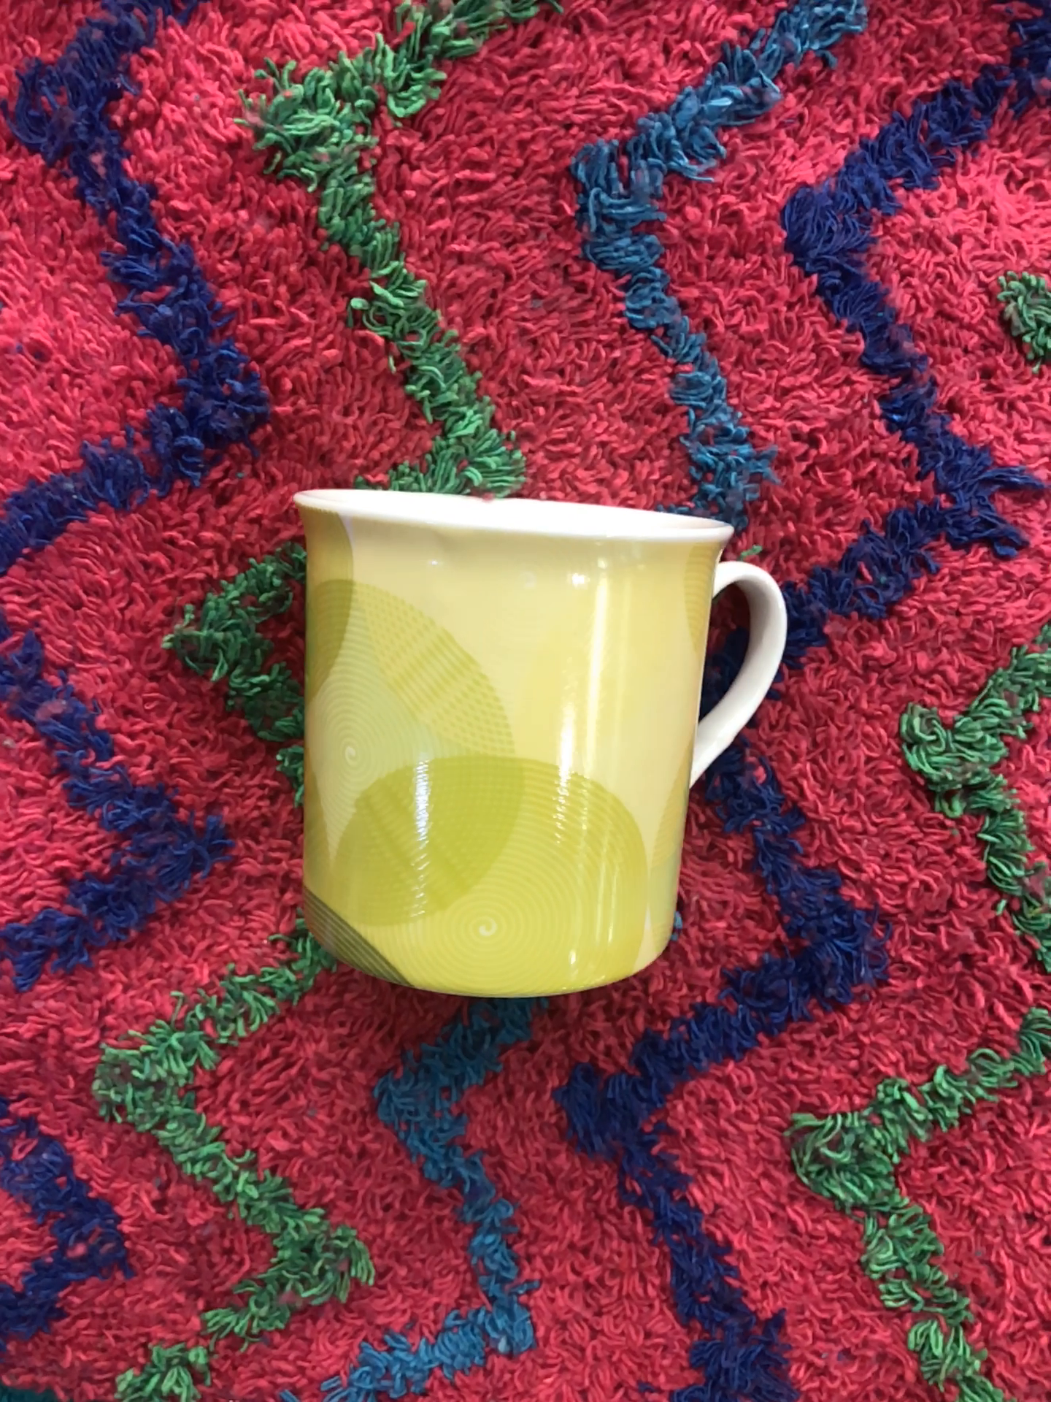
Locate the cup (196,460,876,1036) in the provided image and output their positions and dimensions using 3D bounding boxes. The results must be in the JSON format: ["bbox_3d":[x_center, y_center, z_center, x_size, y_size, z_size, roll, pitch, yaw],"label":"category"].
[{"bbox_3d":[-0.002,-0.001,0.242,0.110,0.080,0.090,-5,104,-27],"label":"cup"}]
